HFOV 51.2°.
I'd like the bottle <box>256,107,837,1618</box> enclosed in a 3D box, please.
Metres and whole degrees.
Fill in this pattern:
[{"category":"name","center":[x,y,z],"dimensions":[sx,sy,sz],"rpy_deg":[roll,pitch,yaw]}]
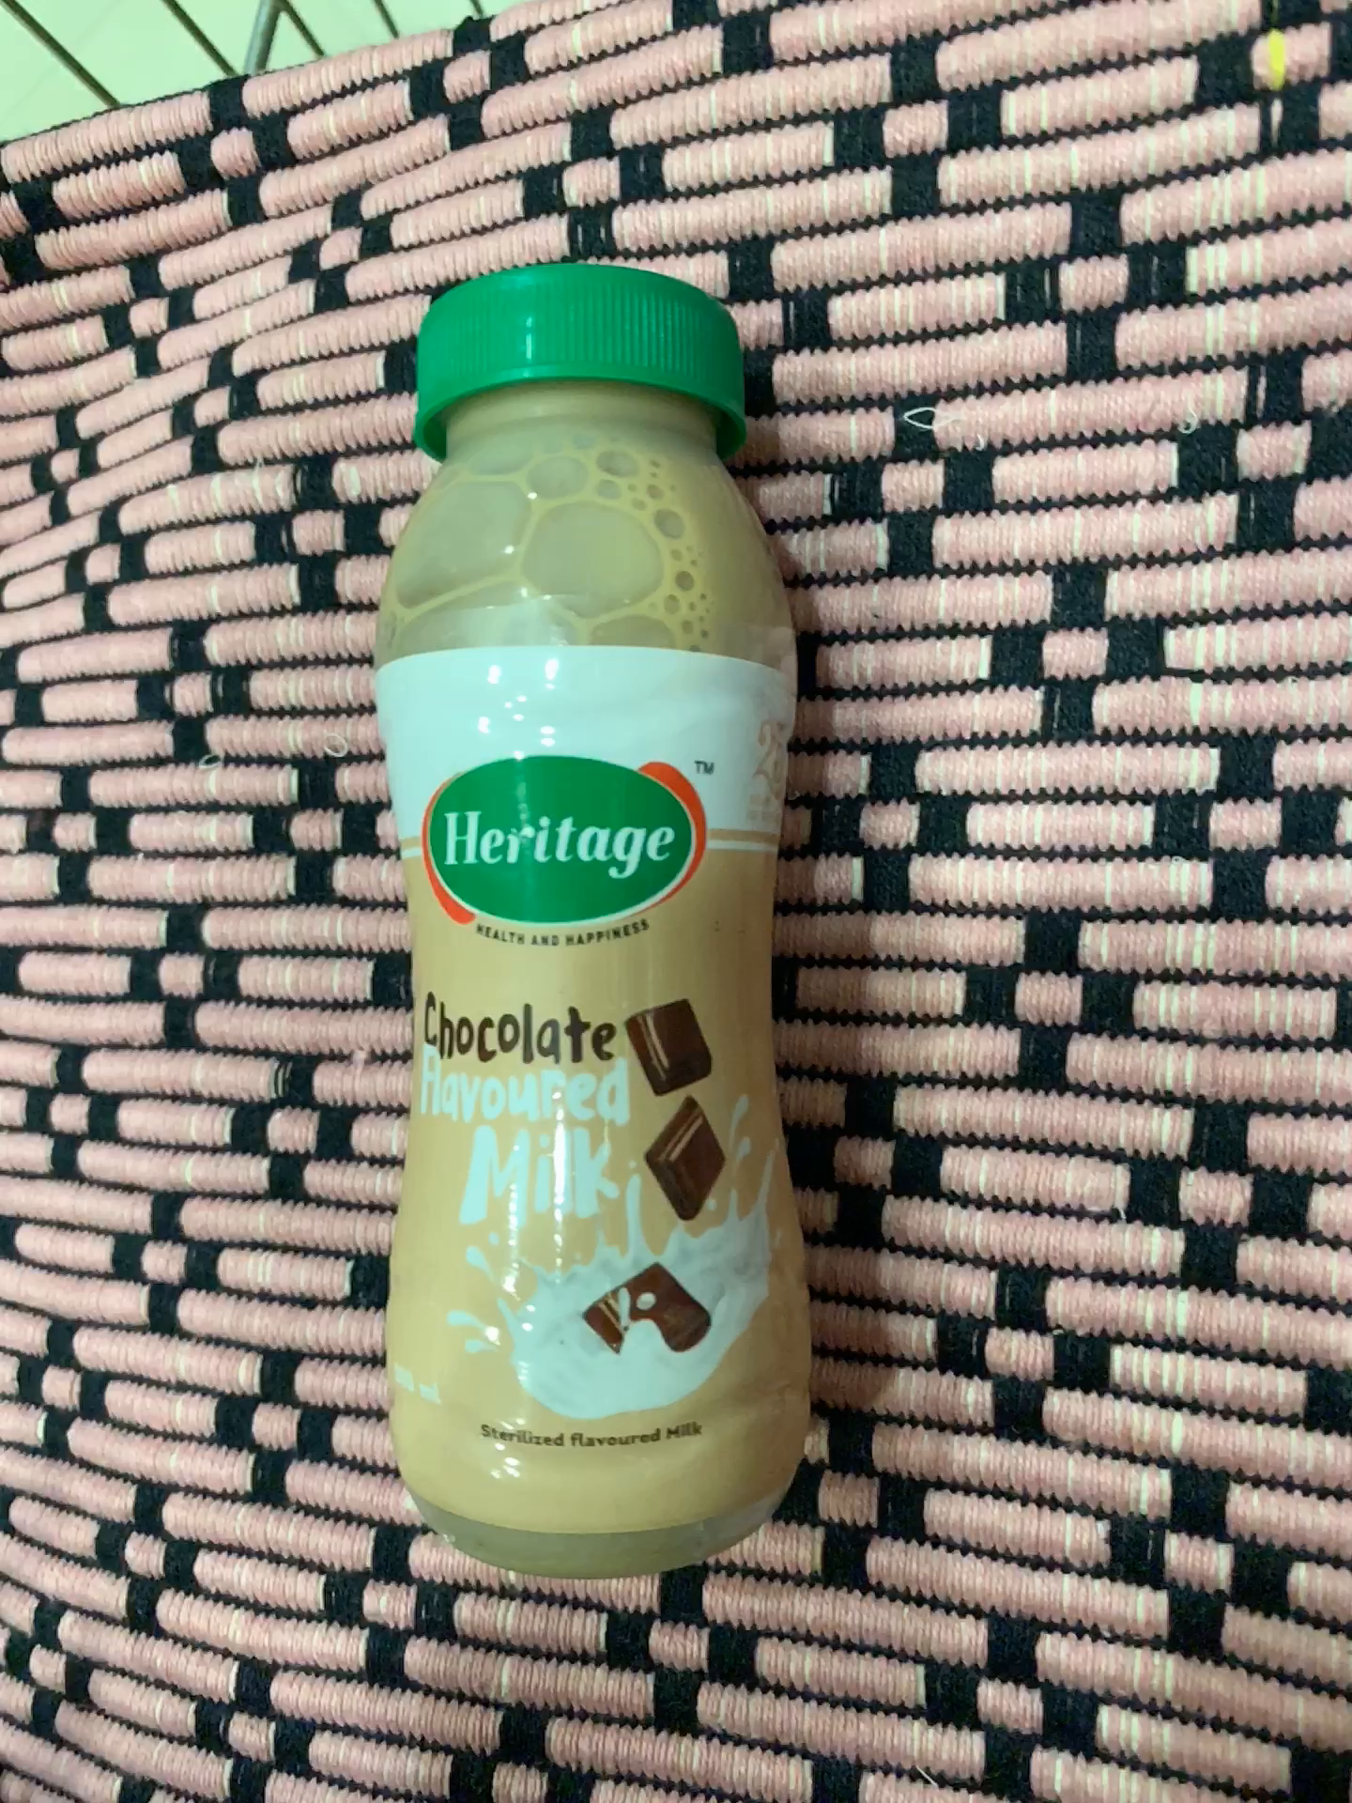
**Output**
[{"category":"bottle","center":[-0.009,-0.005,0.159],"dimensions":[0.050,0.050,0.140],"rpy_deg":[0,85,10]}]
